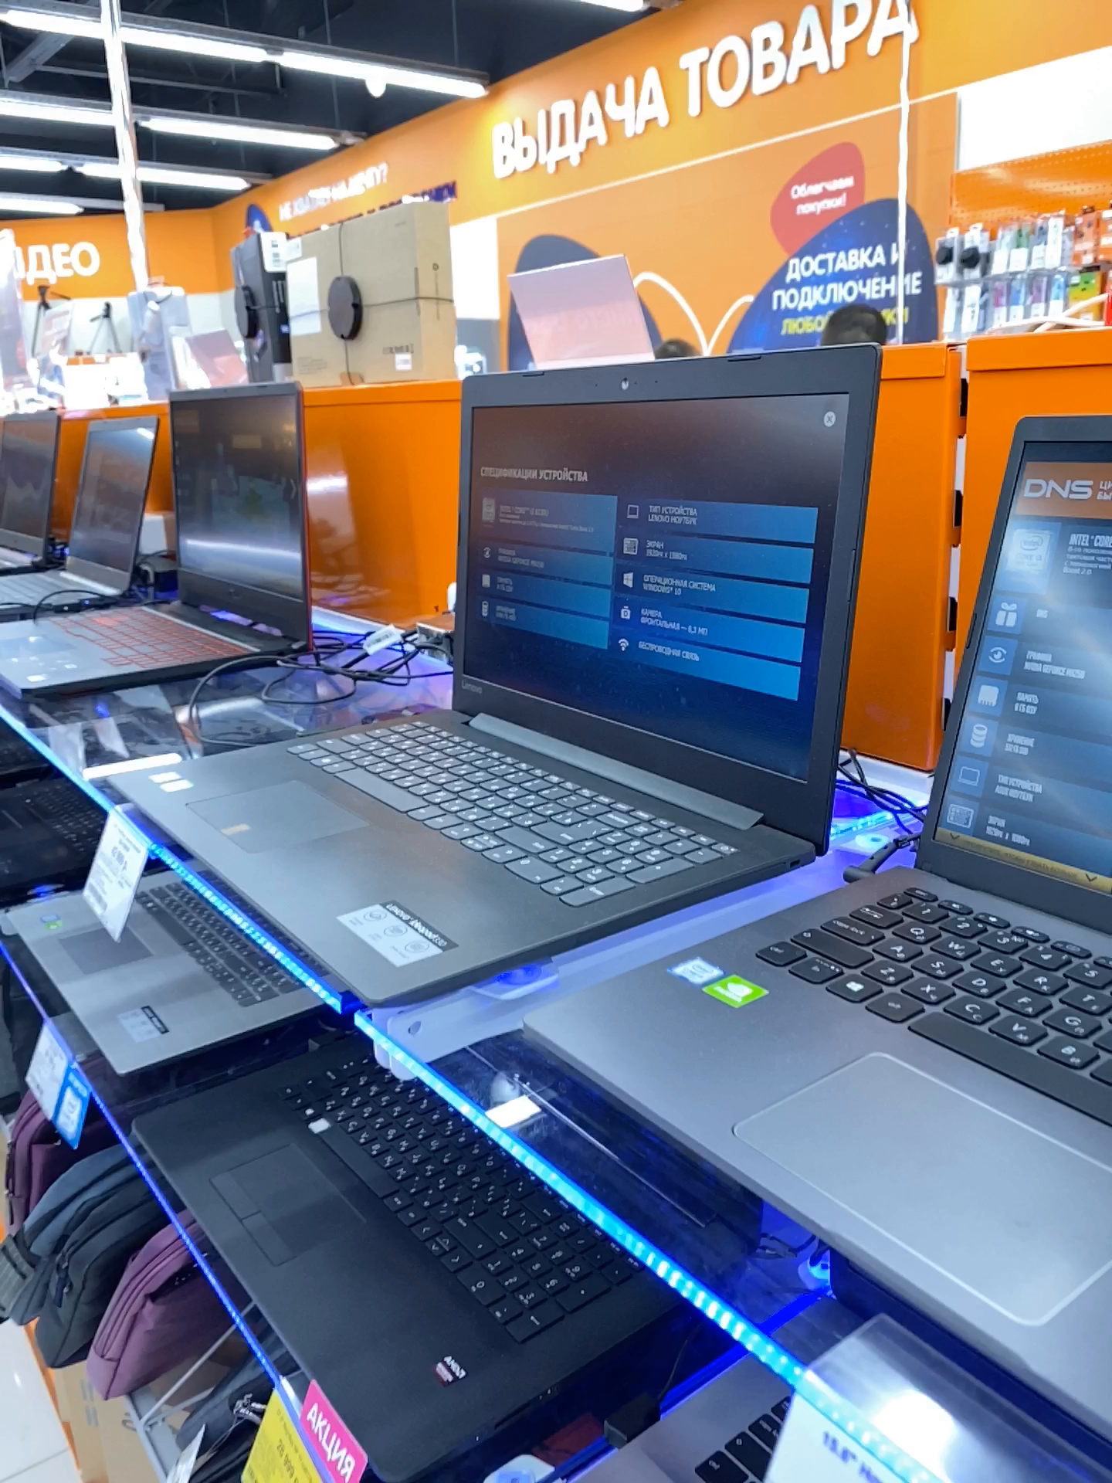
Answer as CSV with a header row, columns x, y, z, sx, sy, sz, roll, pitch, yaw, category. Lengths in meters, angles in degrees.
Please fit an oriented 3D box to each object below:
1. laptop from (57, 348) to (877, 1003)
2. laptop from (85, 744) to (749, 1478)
x,y,z,sx,sy,sz,roll,pitch,yaw,category
-0.069,-0.081,0.648,0.289,0.245,0.378,-13,19,-34,laptop
-0.108,0.190,0.787,0.271,0.263,0.401,-11,18,-37,laptop
